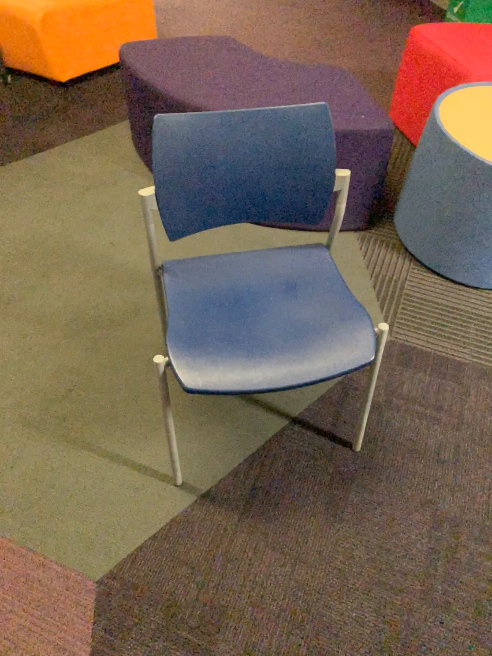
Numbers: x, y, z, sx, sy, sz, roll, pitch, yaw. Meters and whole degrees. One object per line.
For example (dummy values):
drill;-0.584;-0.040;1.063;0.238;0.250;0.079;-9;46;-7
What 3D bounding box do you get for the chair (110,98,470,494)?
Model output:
chair;0.027;-0.061;1.219;0.560;0.694;0.575;-8;50;-8
